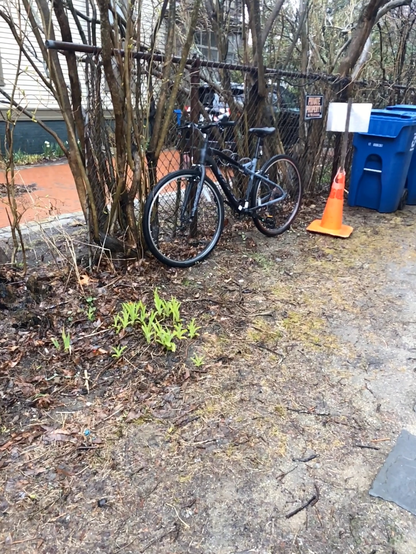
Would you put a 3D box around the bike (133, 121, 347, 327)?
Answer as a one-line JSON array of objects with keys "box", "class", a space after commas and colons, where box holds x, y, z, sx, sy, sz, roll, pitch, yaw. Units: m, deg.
[{"box": [0.330, -0.558, 3.613, 0.537, 1.067, 1.891, 20, 32, 41], "class": "bike"}]
